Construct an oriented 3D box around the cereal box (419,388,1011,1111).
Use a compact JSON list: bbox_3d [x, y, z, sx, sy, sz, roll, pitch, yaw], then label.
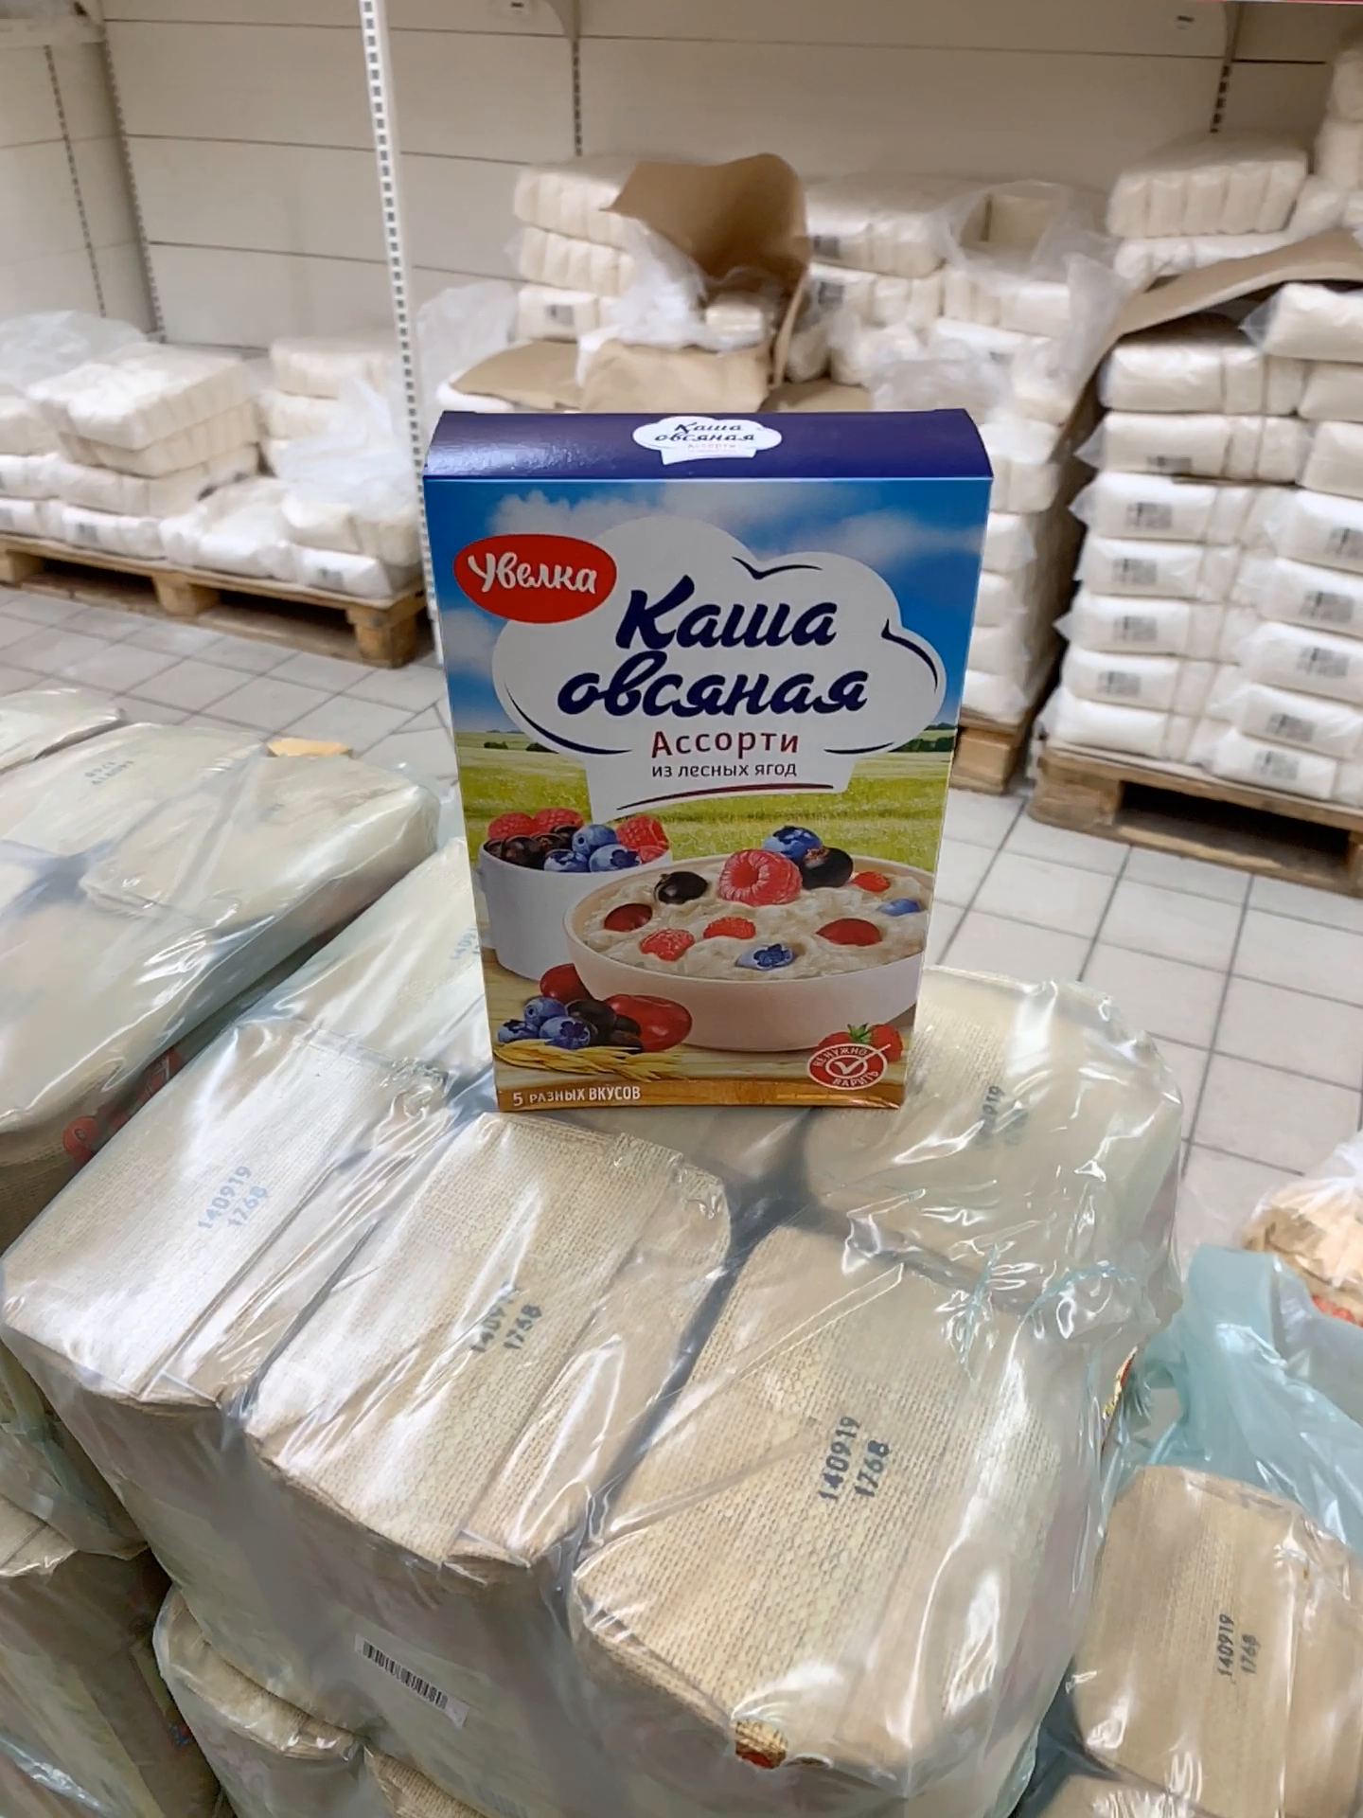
[{"bbox_3d":[0.006,-0.034,0.387,0.130,0.198,0.050,-1,37,-2],"label":"cereal box"}]
